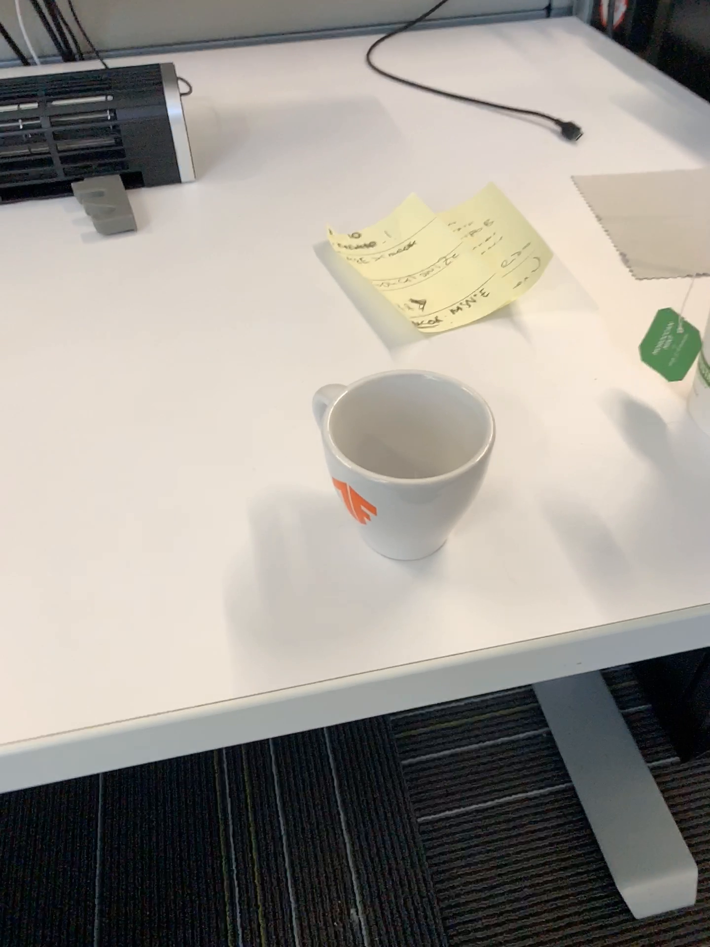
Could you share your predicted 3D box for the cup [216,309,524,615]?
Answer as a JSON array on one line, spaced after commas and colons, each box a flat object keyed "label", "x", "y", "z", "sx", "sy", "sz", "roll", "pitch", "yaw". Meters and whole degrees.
[{"label": "cup", "x": 0.004, "y": -0.009, "z": 0.304, "sx": 0.070, "sy": 0.060, "sz": 0.100, "roll": -34, "pitch": 53, "yaw": -27}]
